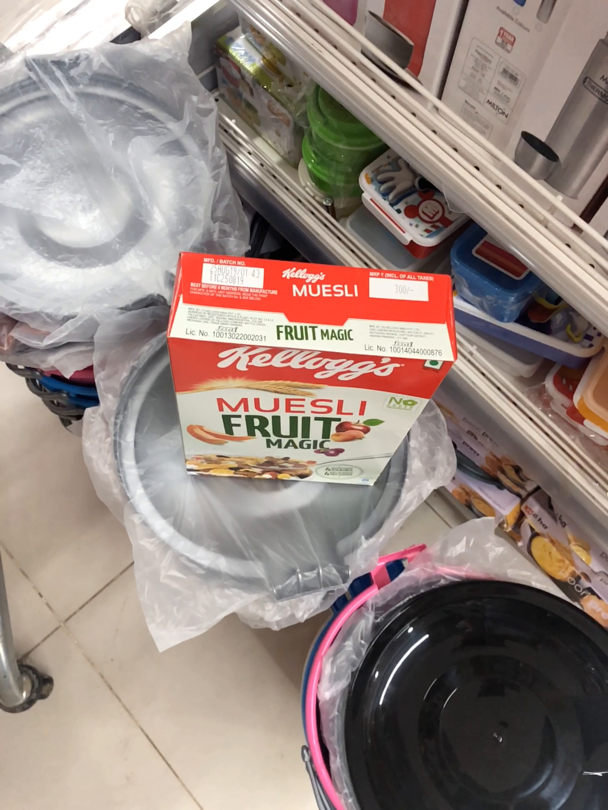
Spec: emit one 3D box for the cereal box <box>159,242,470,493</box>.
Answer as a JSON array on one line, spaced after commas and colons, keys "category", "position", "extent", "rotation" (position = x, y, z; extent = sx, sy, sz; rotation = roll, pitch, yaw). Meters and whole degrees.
[{"category": "cereal box", "position": [-0.003, -0.010, 0.535], "extent": [0.190, 0.250, 0.070], "rotation": [5, 64, -4]}]
